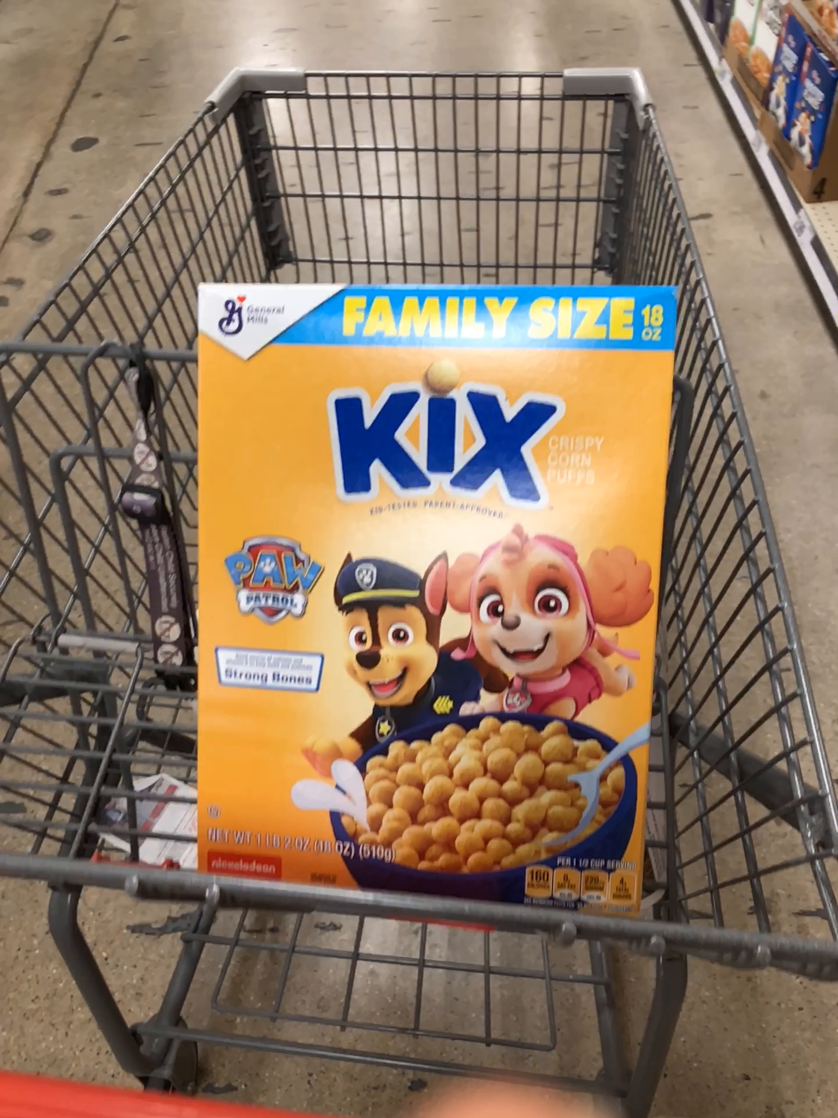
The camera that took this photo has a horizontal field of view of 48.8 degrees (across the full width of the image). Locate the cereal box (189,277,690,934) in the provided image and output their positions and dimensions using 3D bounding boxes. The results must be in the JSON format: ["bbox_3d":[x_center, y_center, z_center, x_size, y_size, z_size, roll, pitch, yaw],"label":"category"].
[{"bbox_3d":[0.007,0.018,0.523,0.250,0.330,0.090,4,9,11],"label":"cereal box"}]
